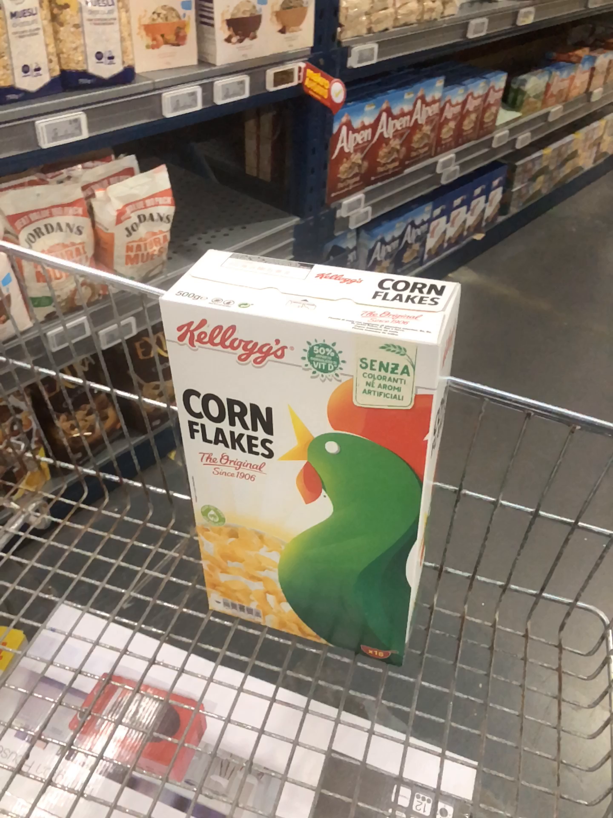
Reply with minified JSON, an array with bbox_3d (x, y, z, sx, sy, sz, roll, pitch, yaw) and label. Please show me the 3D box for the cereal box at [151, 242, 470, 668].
[{"bbox_3d":[0.007,0.050,0.545,0.190,0.329,0.090,11,40,15],"label":"cereal box"}]
